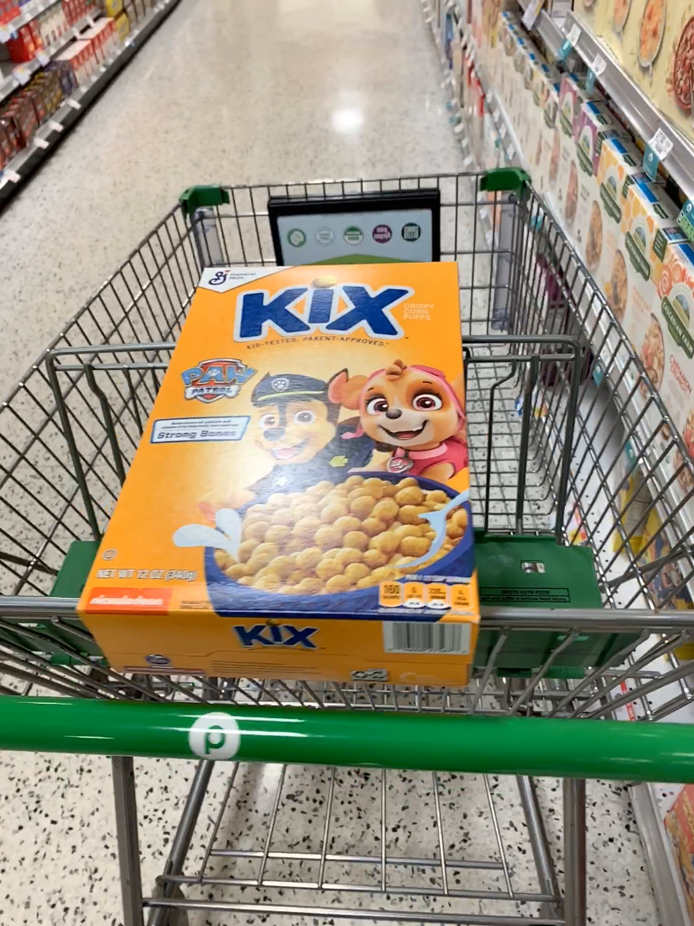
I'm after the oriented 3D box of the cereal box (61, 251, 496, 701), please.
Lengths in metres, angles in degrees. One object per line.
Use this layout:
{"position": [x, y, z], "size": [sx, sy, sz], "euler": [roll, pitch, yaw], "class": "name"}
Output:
{"position": [-0.022, -0.018, 0.477], "size": [0.210, 0.079, 0.323], "euler": [0, 47, 6], "class": "cereal box"}
